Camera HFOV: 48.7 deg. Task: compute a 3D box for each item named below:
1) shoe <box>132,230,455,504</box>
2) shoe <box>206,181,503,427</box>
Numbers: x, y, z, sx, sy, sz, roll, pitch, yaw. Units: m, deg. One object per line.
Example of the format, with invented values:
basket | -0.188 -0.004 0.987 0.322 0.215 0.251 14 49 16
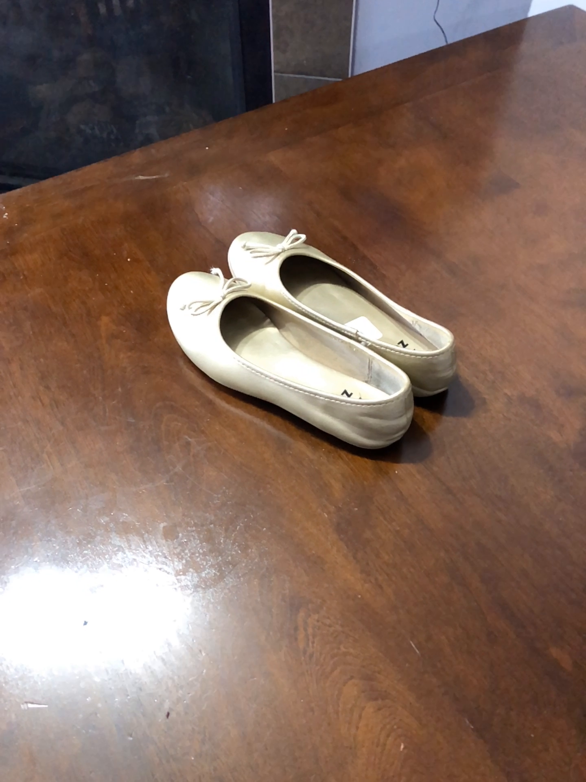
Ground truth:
shoe | -0.005 -0.026 0.499 0.230 0.070 0.090 33 60 23
shoe | 0.042 -0.078 0.531 0.230 0.070 0.080 35 60 24
